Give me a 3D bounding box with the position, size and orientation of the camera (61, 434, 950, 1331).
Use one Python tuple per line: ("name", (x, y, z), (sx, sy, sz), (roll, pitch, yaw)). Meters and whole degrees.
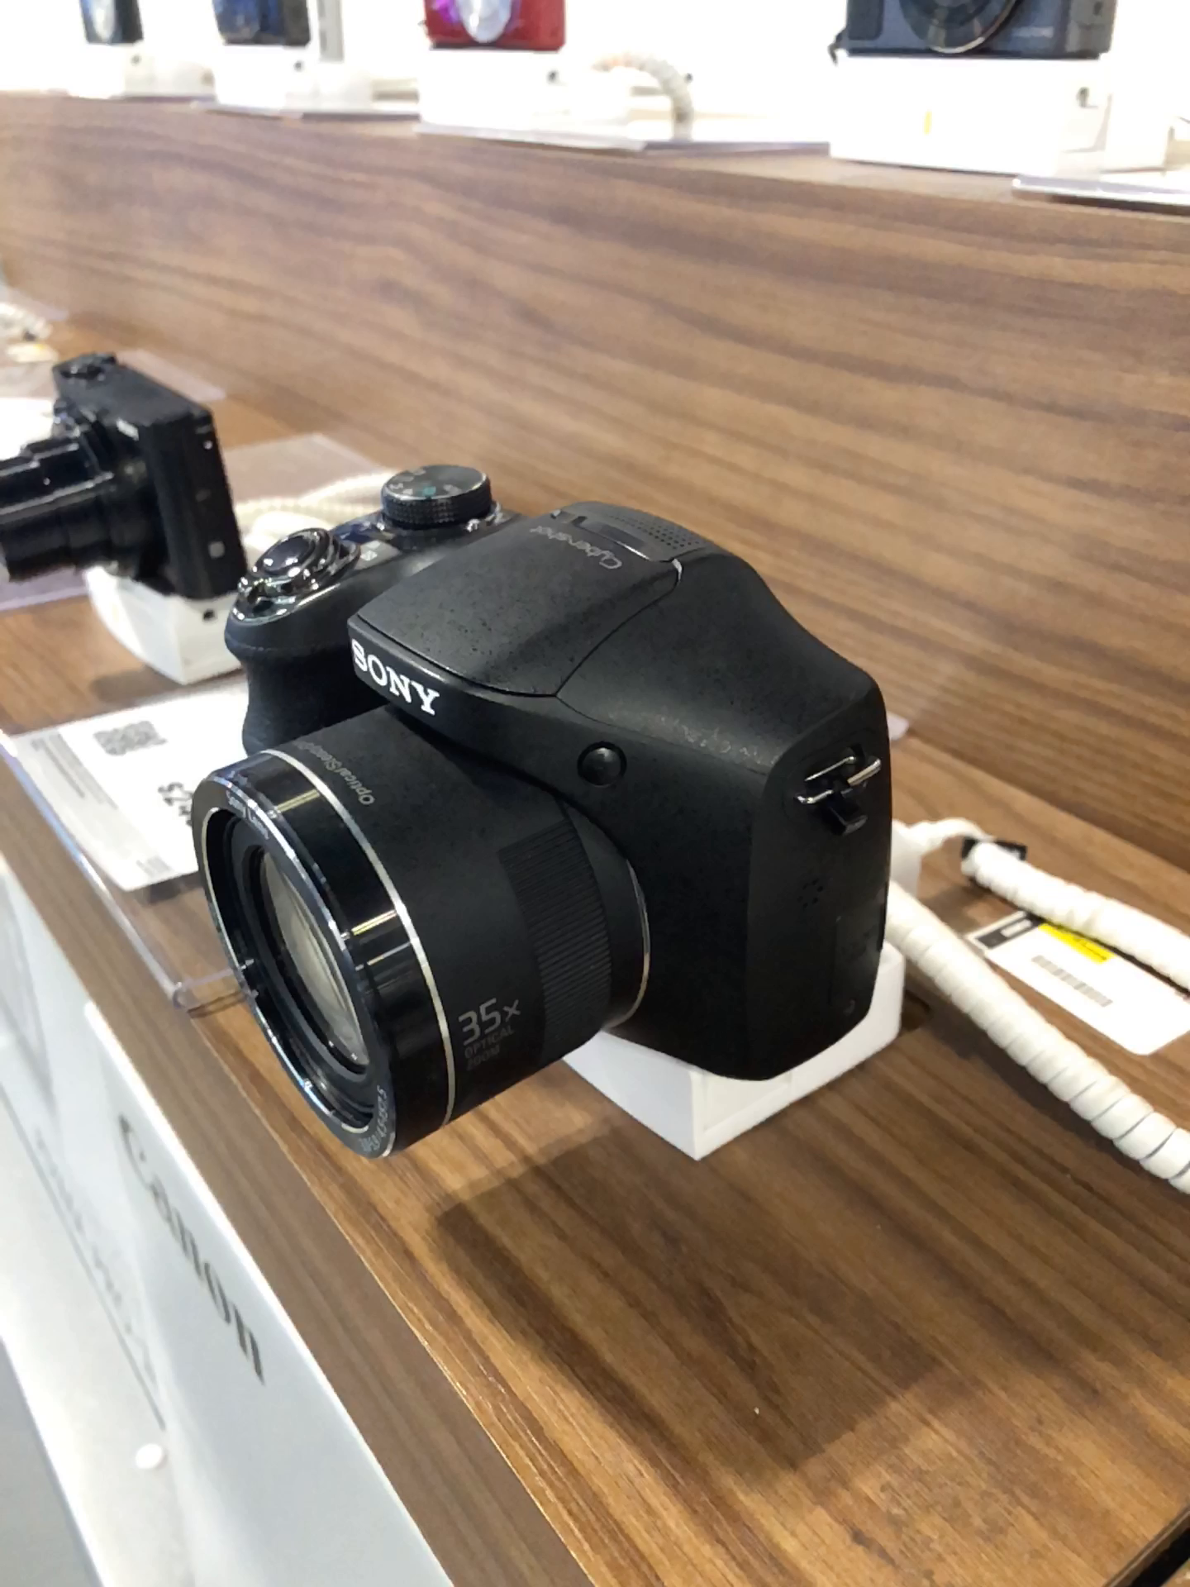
("camera", (-0.021, 0.000, 0.234), (0.090, 0.092, 0.121), (-19, 34, -34))
